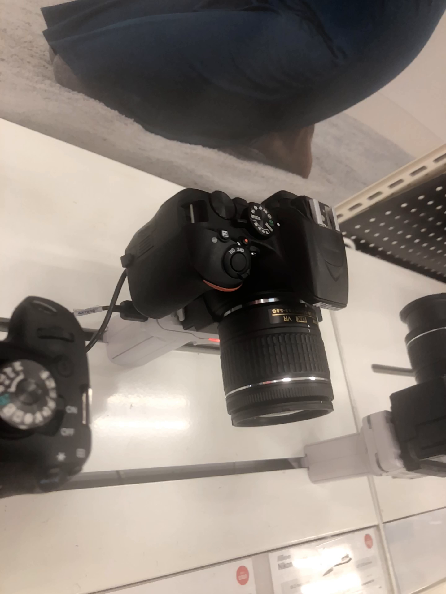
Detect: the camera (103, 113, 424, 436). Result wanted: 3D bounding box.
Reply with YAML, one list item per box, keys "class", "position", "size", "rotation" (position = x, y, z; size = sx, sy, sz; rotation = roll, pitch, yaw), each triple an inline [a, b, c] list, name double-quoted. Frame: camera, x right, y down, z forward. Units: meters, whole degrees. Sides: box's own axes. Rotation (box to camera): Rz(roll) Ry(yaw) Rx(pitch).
- class: "camera"
  position: [0.020, 0.003, 0.277]
  size: [0.141, 0.089, 0.130]
  rotation: [12, 62, -40]
